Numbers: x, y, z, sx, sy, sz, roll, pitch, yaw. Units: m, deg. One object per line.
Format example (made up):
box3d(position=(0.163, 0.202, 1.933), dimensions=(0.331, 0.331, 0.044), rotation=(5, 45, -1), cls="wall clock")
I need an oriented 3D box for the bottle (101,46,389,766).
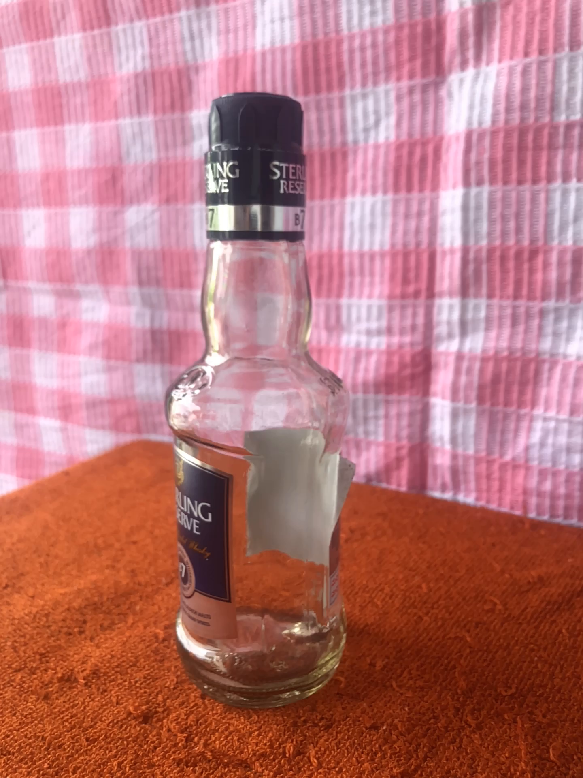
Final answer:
box3d(position=(-0.013, 0.005, 0.186), dimensions=(0.050, 0.169, 0.060), rotation=(-9, 18, -28), cls="bottle")
